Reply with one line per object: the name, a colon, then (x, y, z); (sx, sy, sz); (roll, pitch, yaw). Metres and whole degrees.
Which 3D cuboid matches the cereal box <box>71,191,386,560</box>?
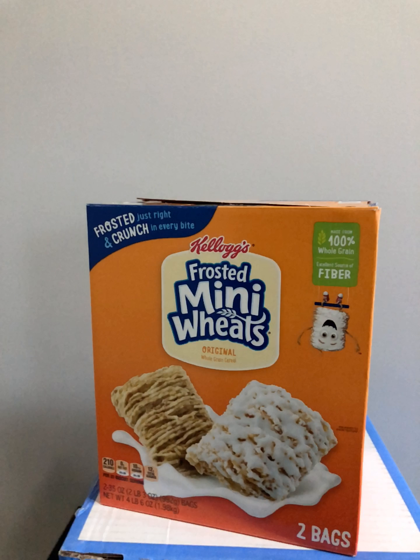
cereal box: (0.027, 0.061, 0.458); (0.250, 0.289, 0.160); (3, 11, 17)
